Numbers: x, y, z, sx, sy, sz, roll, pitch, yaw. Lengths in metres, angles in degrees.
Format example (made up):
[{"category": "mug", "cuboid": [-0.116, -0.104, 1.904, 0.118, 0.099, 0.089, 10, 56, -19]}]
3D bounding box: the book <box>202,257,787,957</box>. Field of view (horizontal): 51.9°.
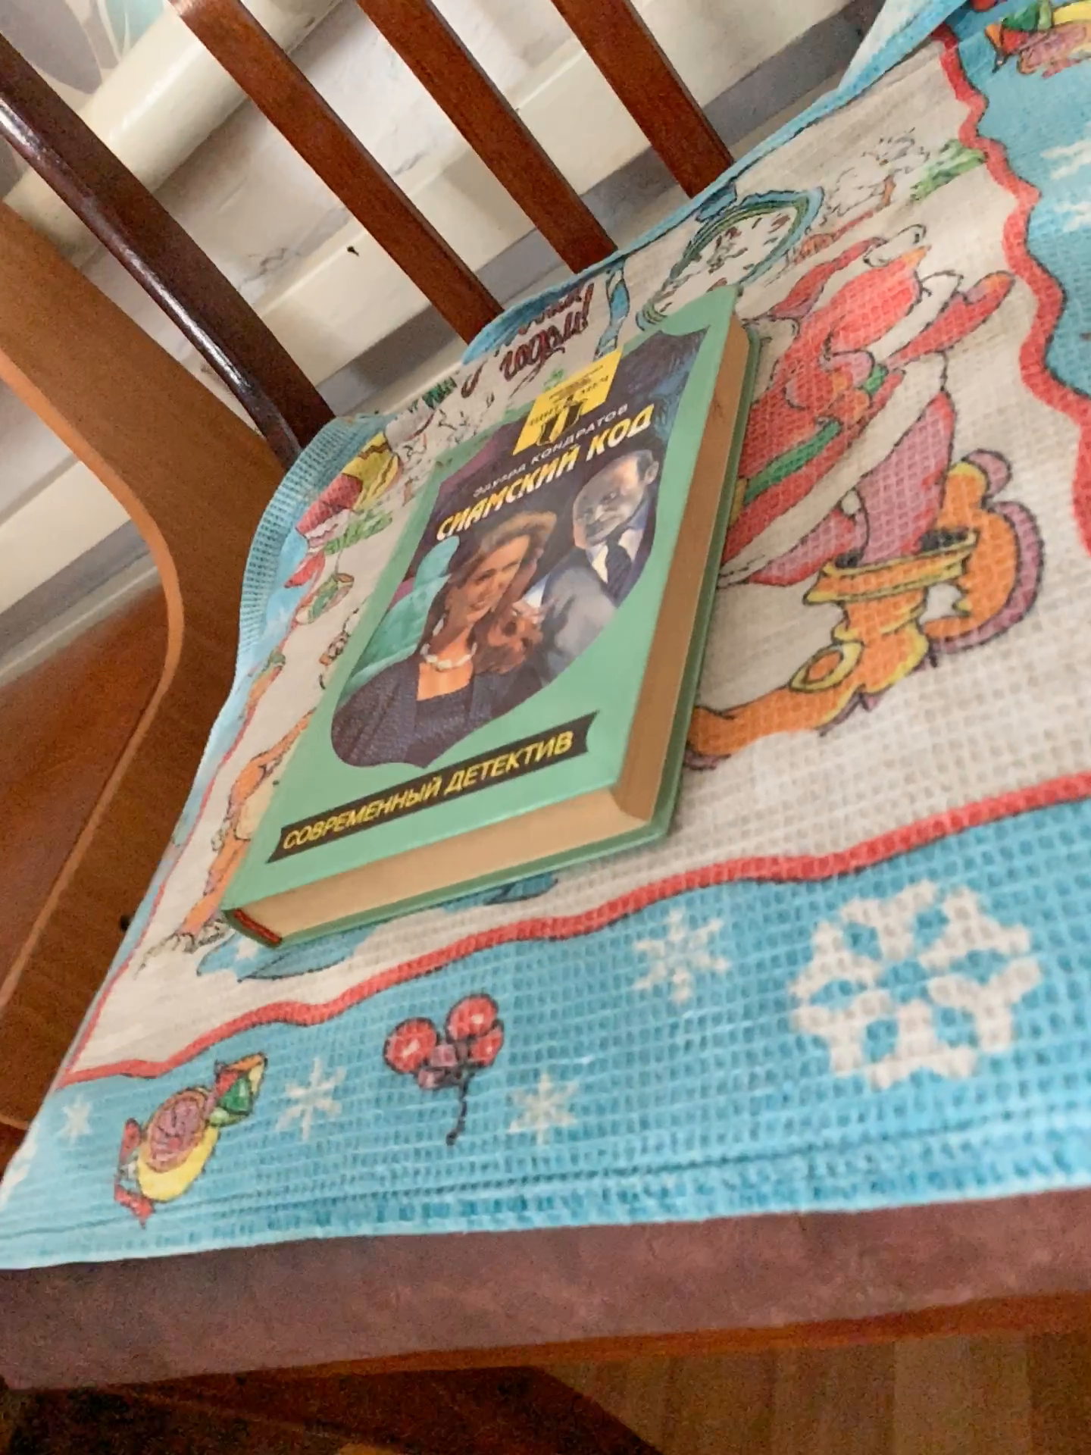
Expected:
[{"category": "book", "cuboid": [-0.007, -0.039, 0.319, 0.140, 0.023, 0.201, -21, 38, 37]}]
